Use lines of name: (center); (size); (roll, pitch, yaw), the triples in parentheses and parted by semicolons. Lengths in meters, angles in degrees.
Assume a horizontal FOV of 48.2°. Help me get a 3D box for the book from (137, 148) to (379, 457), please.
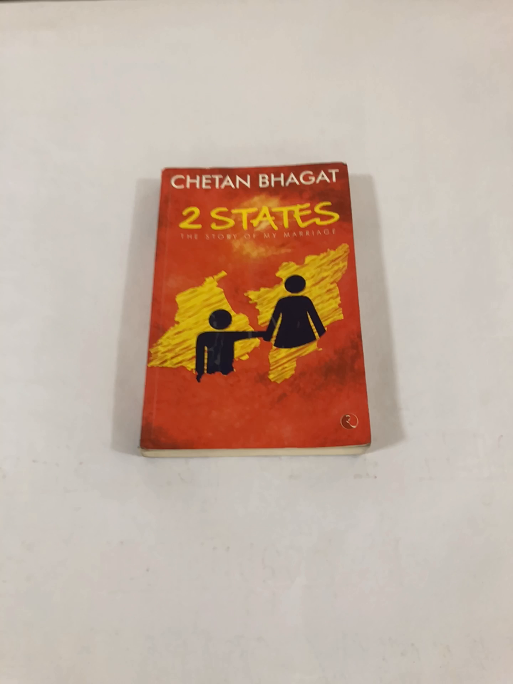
book: (0.001, -0.030, 0.348); (0.123, 0.040, 0.190); (0, 66, 0)
